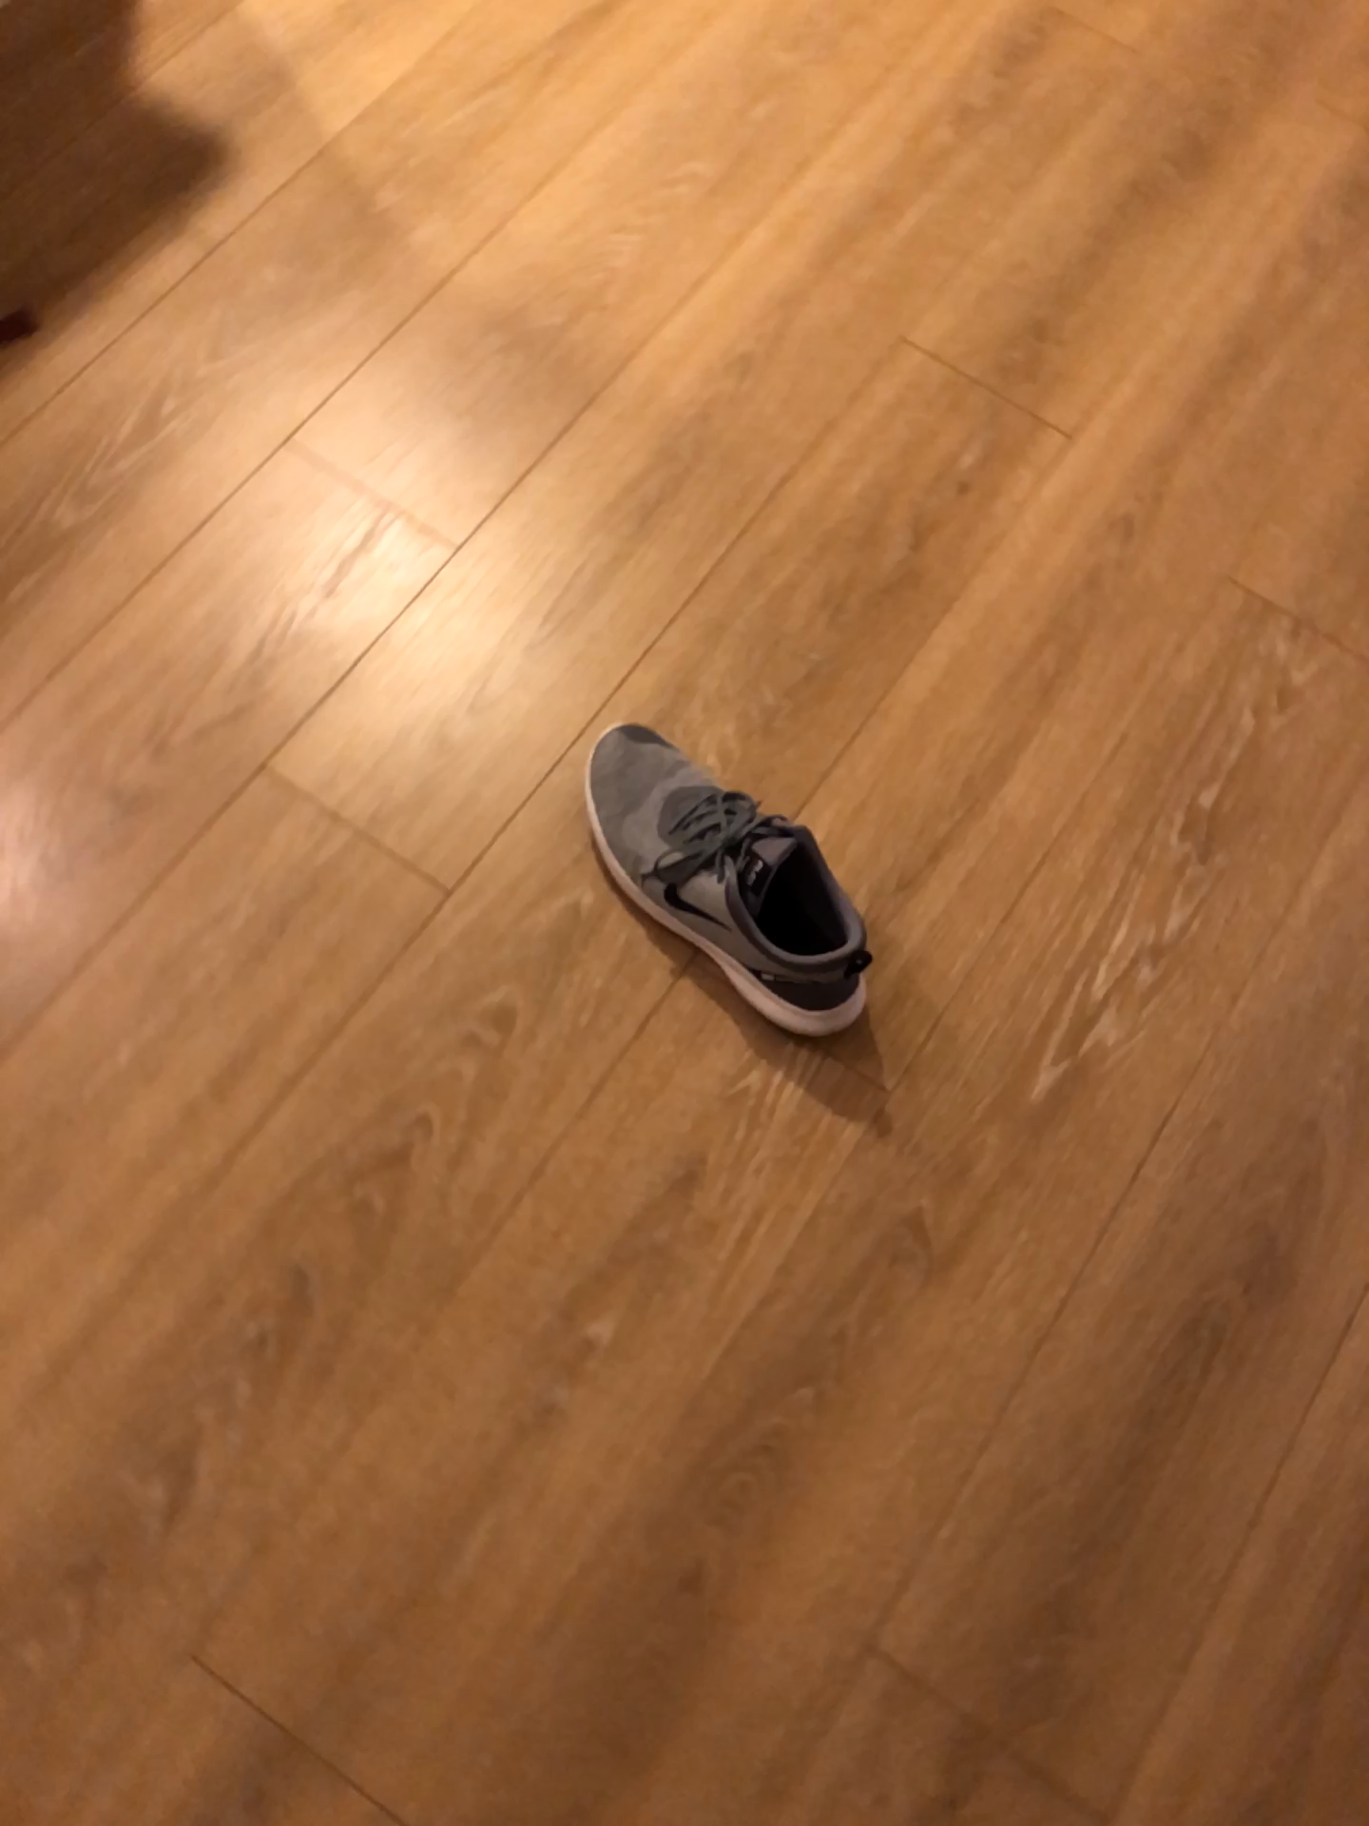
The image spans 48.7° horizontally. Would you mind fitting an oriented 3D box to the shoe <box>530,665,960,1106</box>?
[{"bbox_3d":[0.040,-0.024,1.163,0.140,0.080,0.320,-40,77,-18],"label":"shoe"}]
